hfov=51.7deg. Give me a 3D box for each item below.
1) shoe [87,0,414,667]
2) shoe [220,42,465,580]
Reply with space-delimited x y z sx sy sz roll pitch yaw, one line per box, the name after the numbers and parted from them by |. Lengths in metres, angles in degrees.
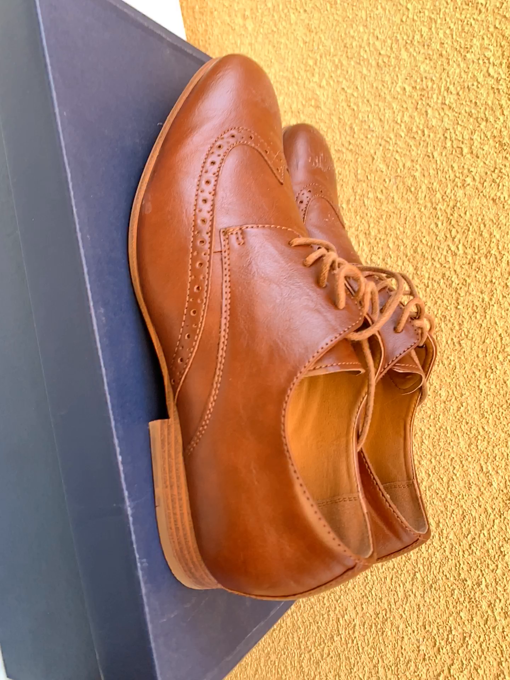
-0.003 -0.028 0.266 0.105 0.099 0.301 19 64 -55 | shoe
0.054 -0.017 0.351 0.111 0.099 0.301 19 64 -55 | shoe
